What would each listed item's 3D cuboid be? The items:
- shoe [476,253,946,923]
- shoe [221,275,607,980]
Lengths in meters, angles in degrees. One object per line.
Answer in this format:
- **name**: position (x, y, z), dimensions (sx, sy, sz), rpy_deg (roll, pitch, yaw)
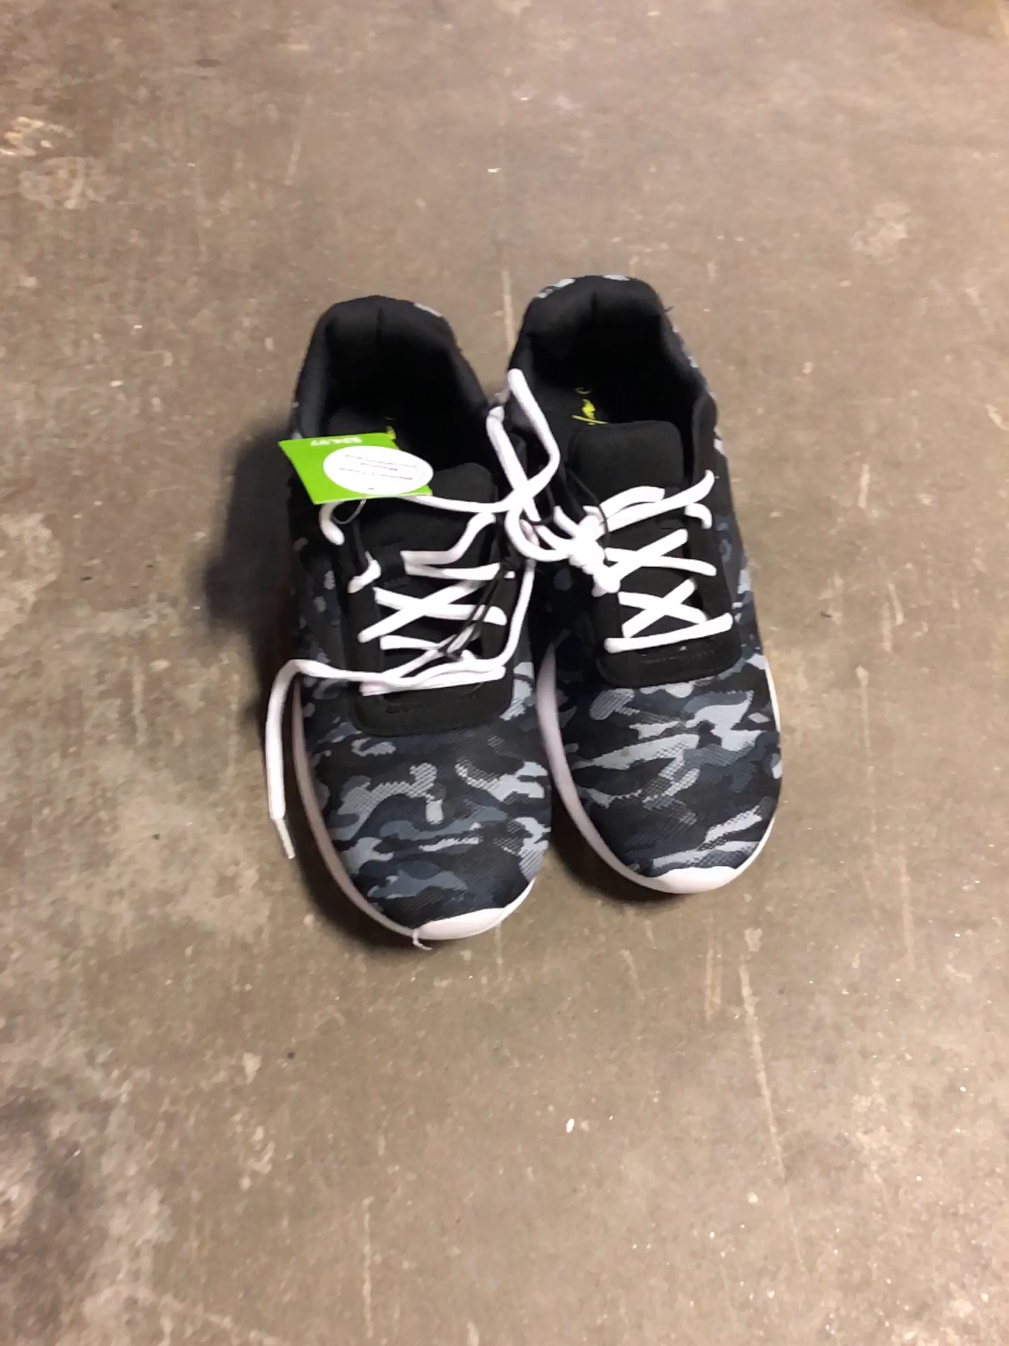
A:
- **shoe**: position (0.070, -0.042, 0.509), dimensions (0.120, 0.139, 0.261), rpy_deg (-8, 61, -8)
- **shoe**: position (-0.047, -0.023, 0.483), dimensions (0.110, 0.139, 0.261), rpy_deg (-8, 61, -8)
